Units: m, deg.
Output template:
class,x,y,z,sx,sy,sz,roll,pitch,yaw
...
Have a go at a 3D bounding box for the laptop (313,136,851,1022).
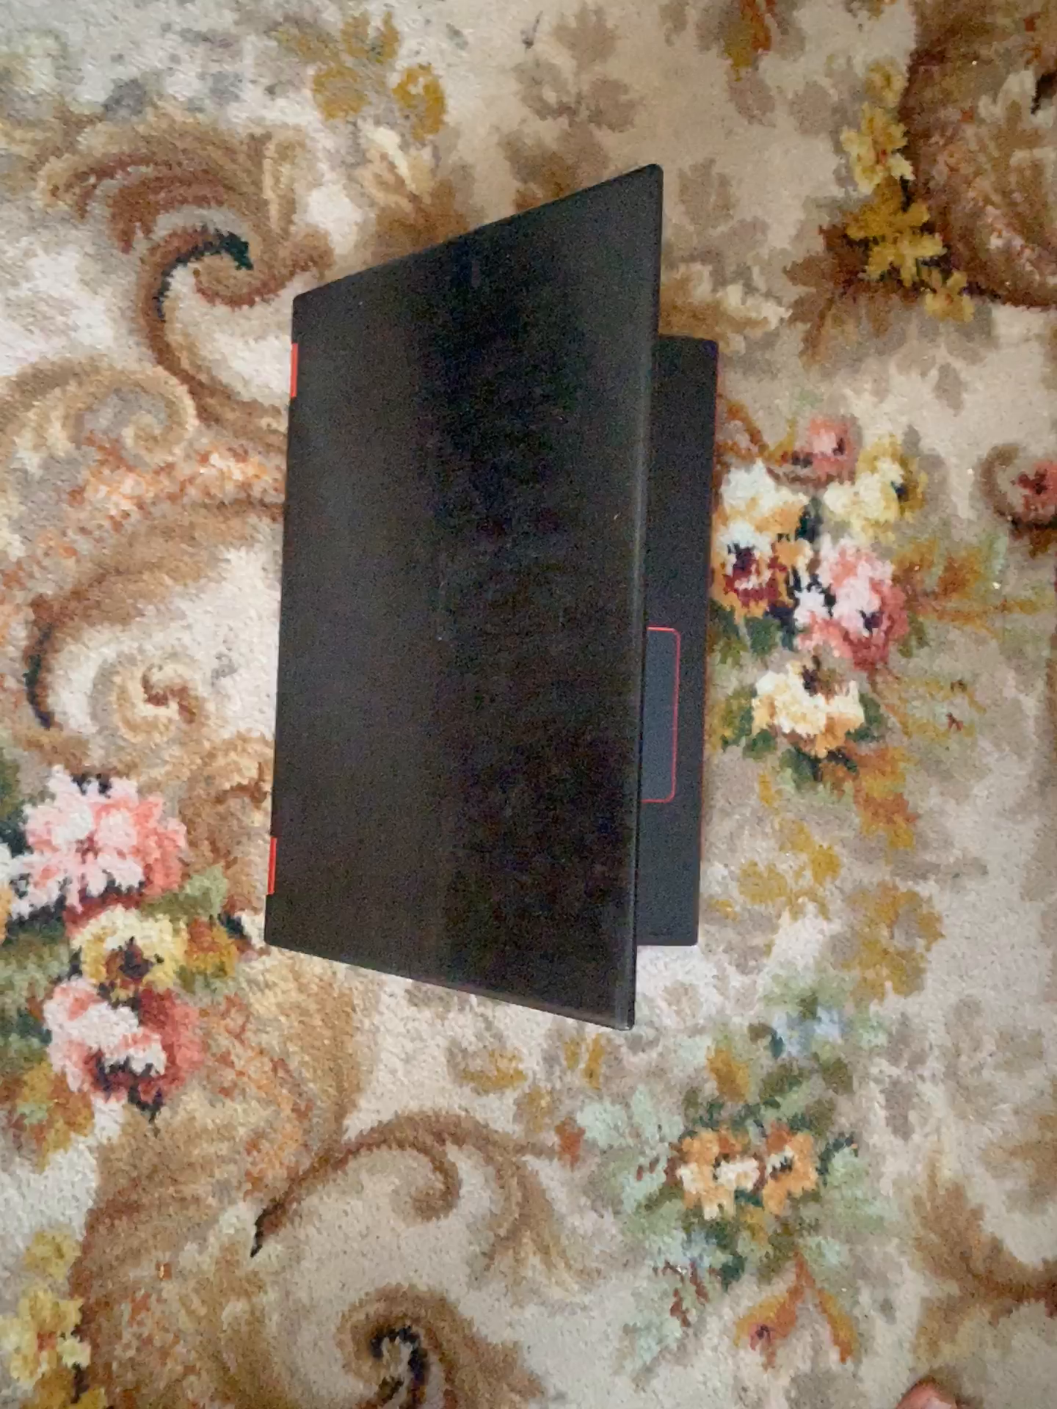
class,x,y,z,sx,sy,sz,roll,pitch,yaw
laptop,0.014,-0.045,0.543,0.224,0.173,0.356,2,88,-12
